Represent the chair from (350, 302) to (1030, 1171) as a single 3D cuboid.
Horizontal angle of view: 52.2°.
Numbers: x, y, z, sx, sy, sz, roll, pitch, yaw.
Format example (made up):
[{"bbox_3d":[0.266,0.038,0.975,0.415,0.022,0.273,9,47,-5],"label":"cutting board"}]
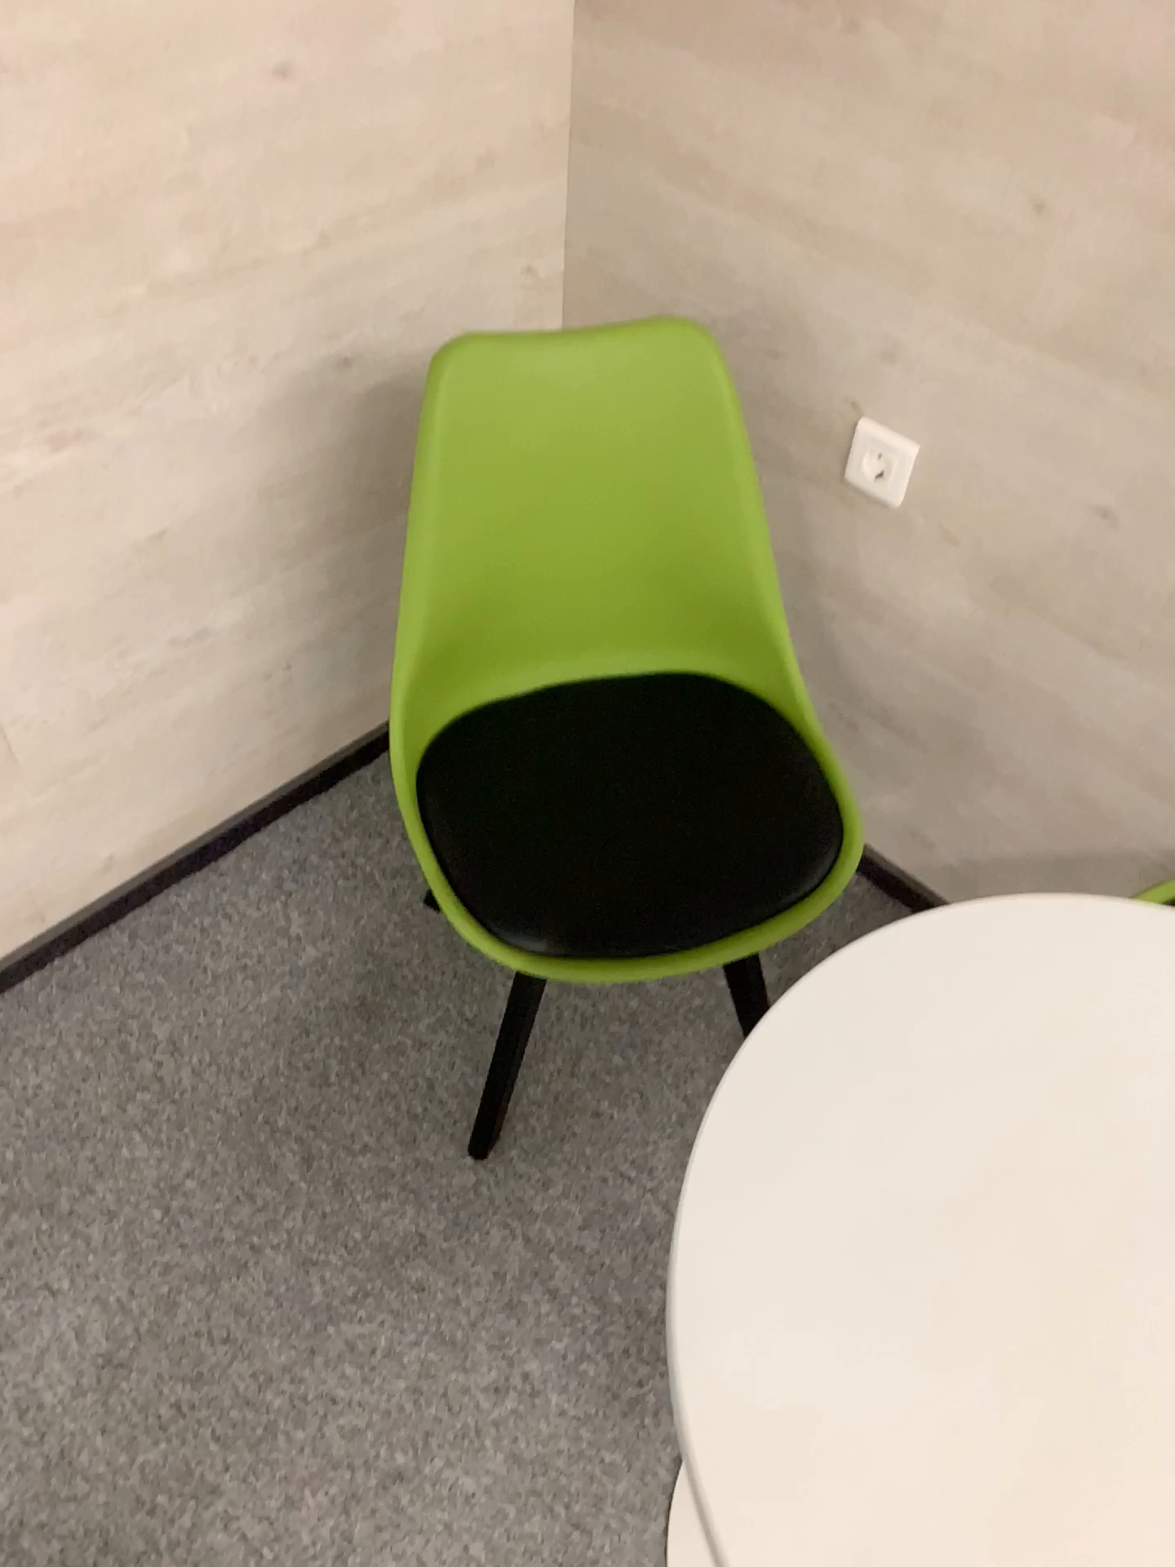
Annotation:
[{"bbox_3d":[0.040,-0.013,1.401,0.490,0.866,0.482,-9,49,-12],"label":"chair"}]
